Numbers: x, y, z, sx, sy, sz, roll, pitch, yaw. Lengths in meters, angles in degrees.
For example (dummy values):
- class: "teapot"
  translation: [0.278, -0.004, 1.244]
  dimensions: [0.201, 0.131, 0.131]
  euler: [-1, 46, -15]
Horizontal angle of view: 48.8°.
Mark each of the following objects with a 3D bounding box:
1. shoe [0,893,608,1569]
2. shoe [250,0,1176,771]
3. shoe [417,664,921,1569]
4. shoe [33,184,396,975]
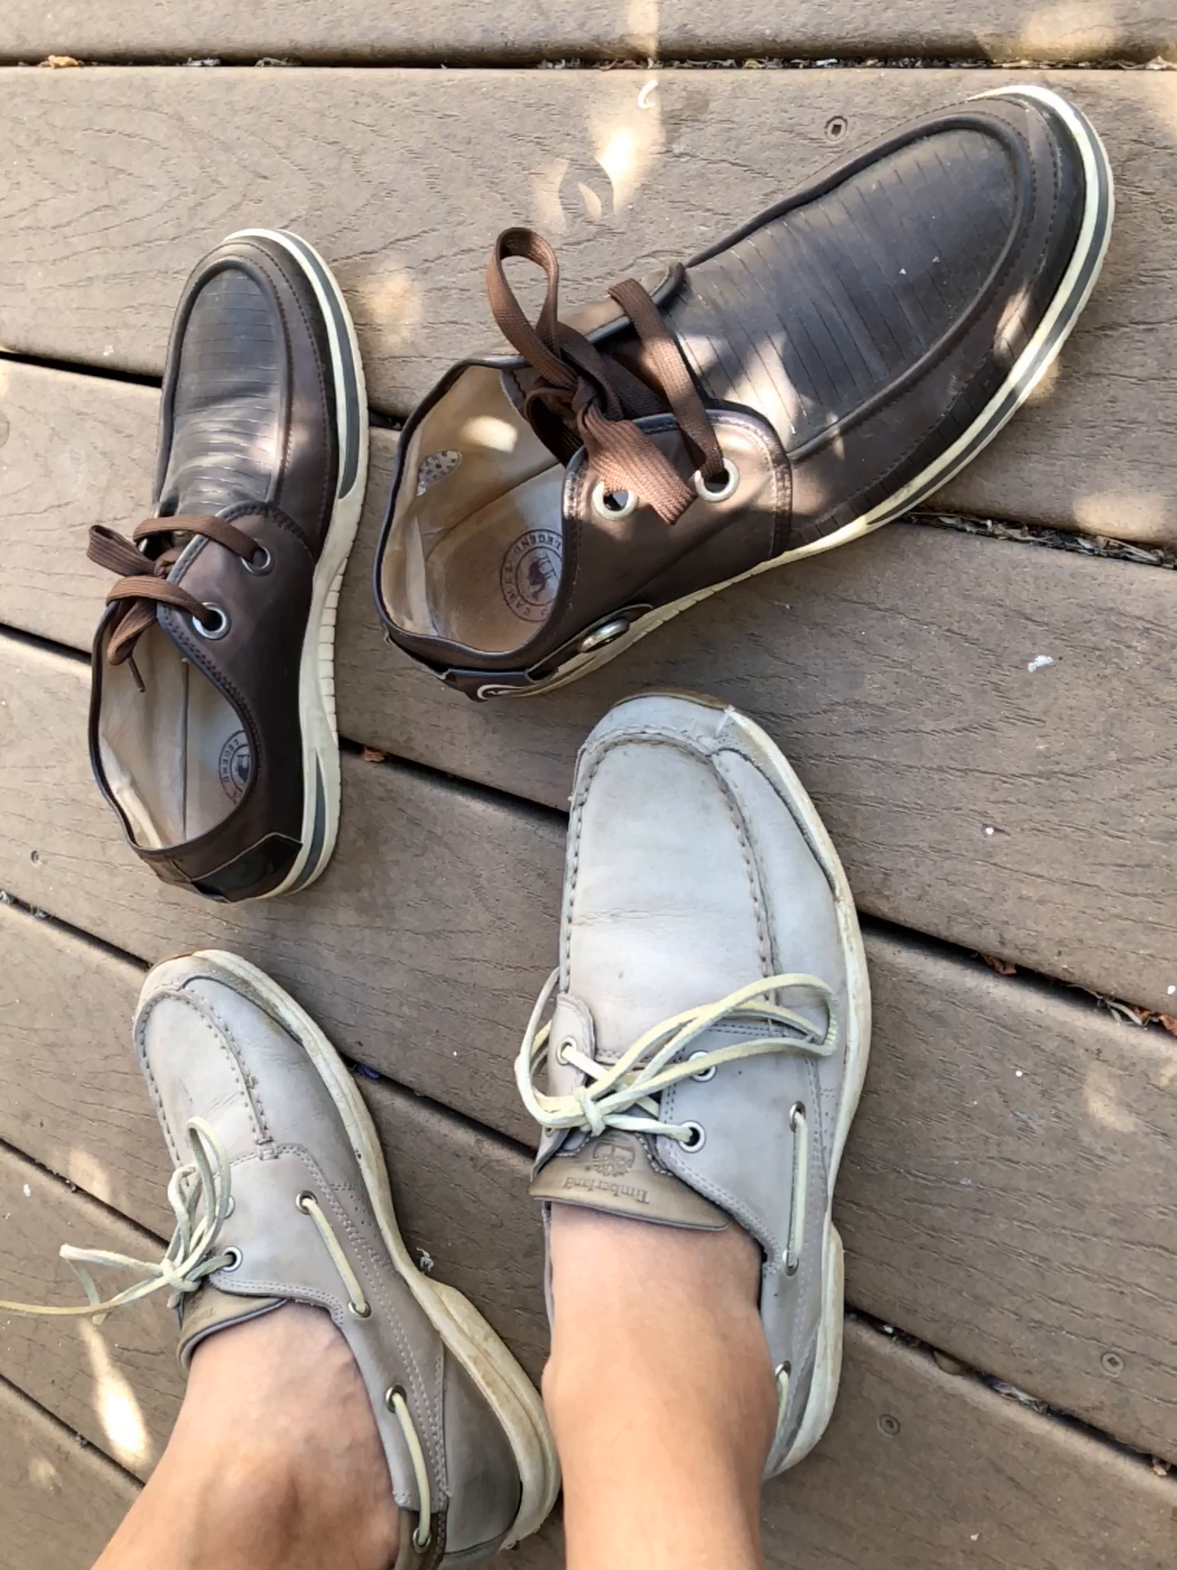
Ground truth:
- class: "shoe"
  translation: [-0.129, 0.202, 0.530]
  dimensions: [0.110, 0.086, 0.292]
  euler: [-40, 76, 27]
- class: "shoe"
  translation: [0.030, -0.112, 0.411]
  dimensions: [0.278, 0.079, 0.109]
  euler: [-27, 82, 30]
- class: "shoe"
  translation: [0.032, 0.112, 0.430]
  dimensions: [0.110, 0.101, 0.293]
  euler: [-3, 94, 30]
- class: "shoe"
  translation: [-0.152, -0.079, 0.514]
  dimensions: [0.110, 0.069, 0.279]
  euler: [13, 104, 28]
